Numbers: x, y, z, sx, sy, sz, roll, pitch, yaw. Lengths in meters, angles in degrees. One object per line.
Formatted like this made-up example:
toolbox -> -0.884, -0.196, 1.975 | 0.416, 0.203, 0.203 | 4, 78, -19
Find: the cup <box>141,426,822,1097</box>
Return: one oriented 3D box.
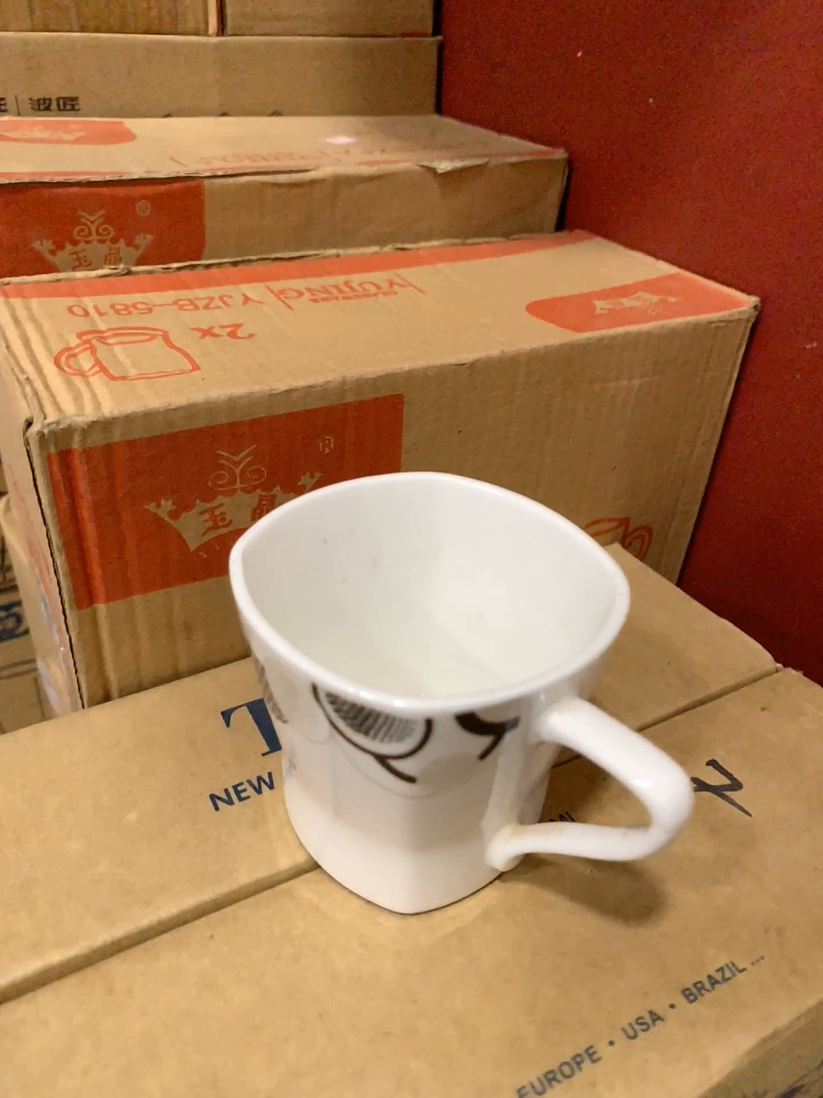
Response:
cup -> 0.009, 0.029, 0.149 | 0.090, 0.060, 0.060 | 29, 41, 34
